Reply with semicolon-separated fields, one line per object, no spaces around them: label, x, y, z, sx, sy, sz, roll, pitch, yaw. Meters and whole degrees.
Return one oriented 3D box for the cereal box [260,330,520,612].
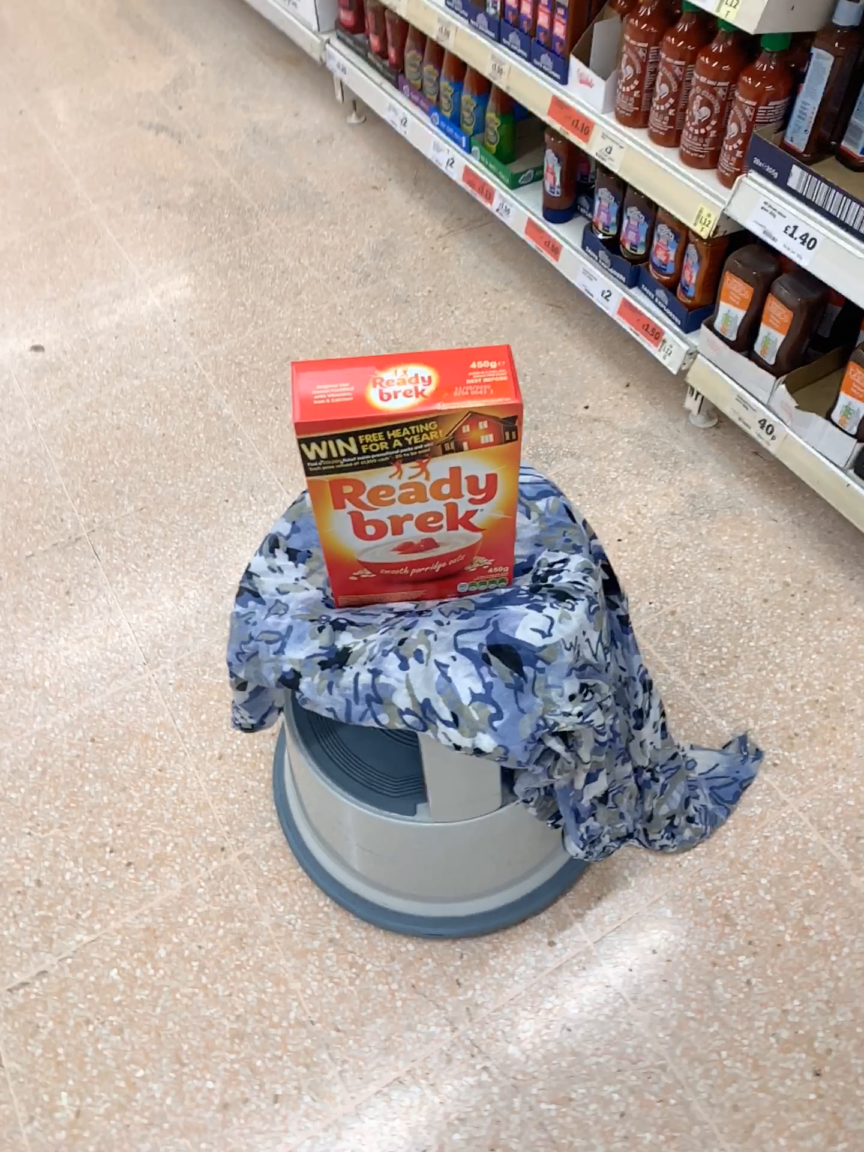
cereal box;-0.024;-0.070;0.689;0.170;0.238;0.061;-4;54;0
